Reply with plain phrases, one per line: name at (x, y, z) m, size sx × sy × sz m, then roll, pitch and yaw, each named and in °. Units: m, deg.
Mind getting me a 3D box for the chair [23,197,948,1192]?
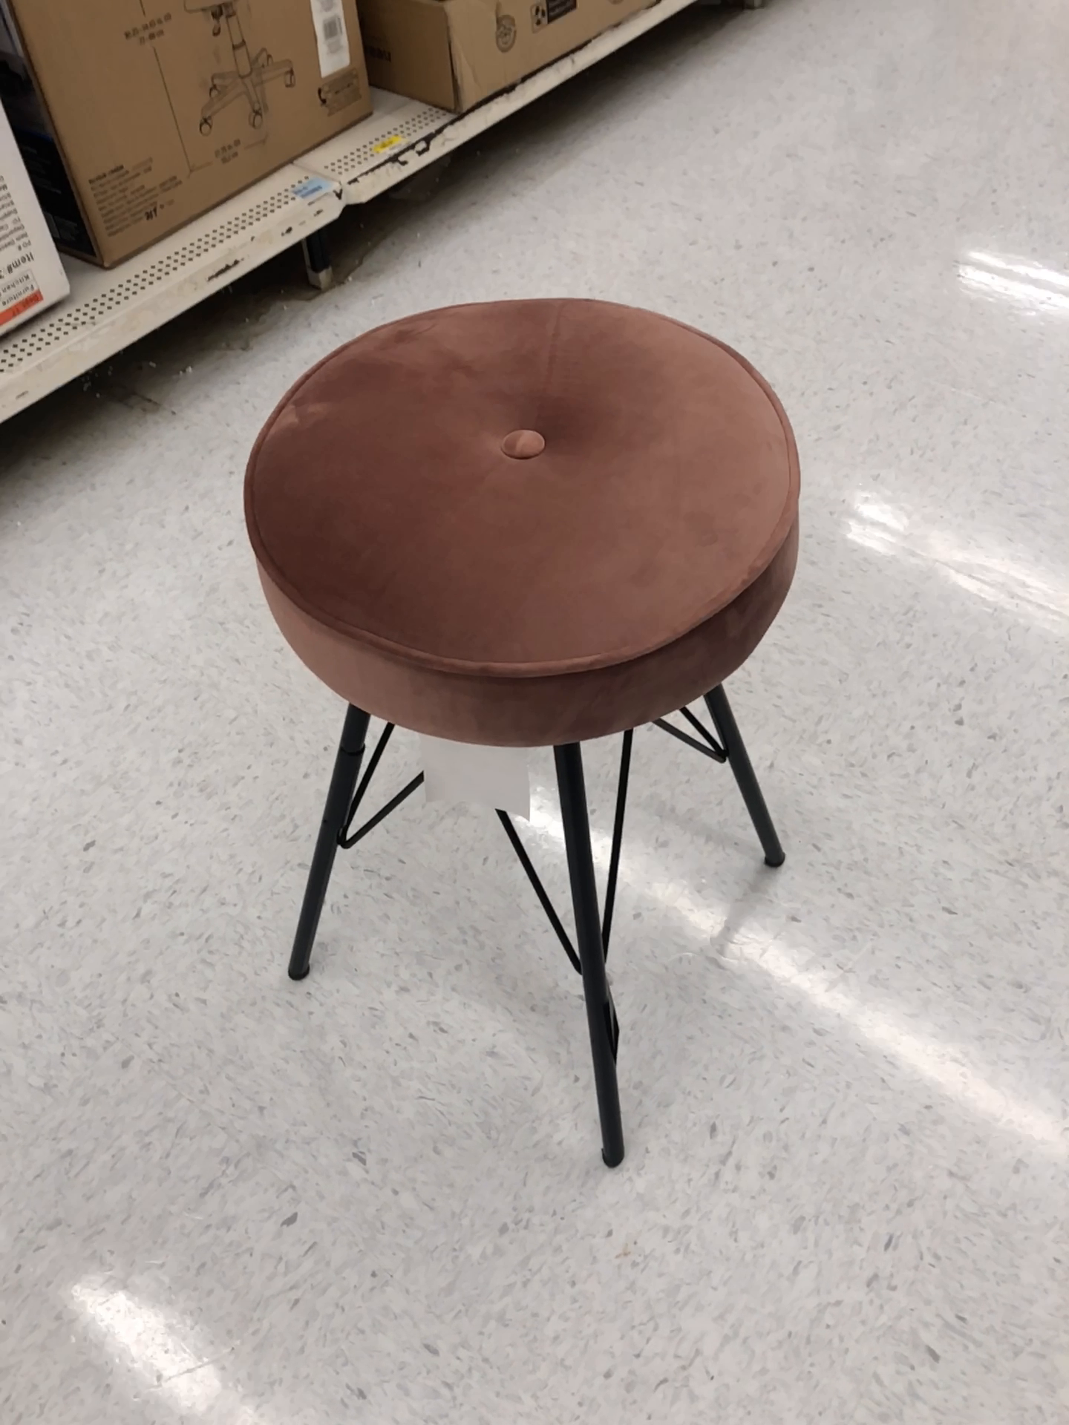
chair at (-0.008, 0.002, 0.821) m, size 0.360 × 0.499 × 0.350 m, roll 25°, pitch 56°, yaw 21°
